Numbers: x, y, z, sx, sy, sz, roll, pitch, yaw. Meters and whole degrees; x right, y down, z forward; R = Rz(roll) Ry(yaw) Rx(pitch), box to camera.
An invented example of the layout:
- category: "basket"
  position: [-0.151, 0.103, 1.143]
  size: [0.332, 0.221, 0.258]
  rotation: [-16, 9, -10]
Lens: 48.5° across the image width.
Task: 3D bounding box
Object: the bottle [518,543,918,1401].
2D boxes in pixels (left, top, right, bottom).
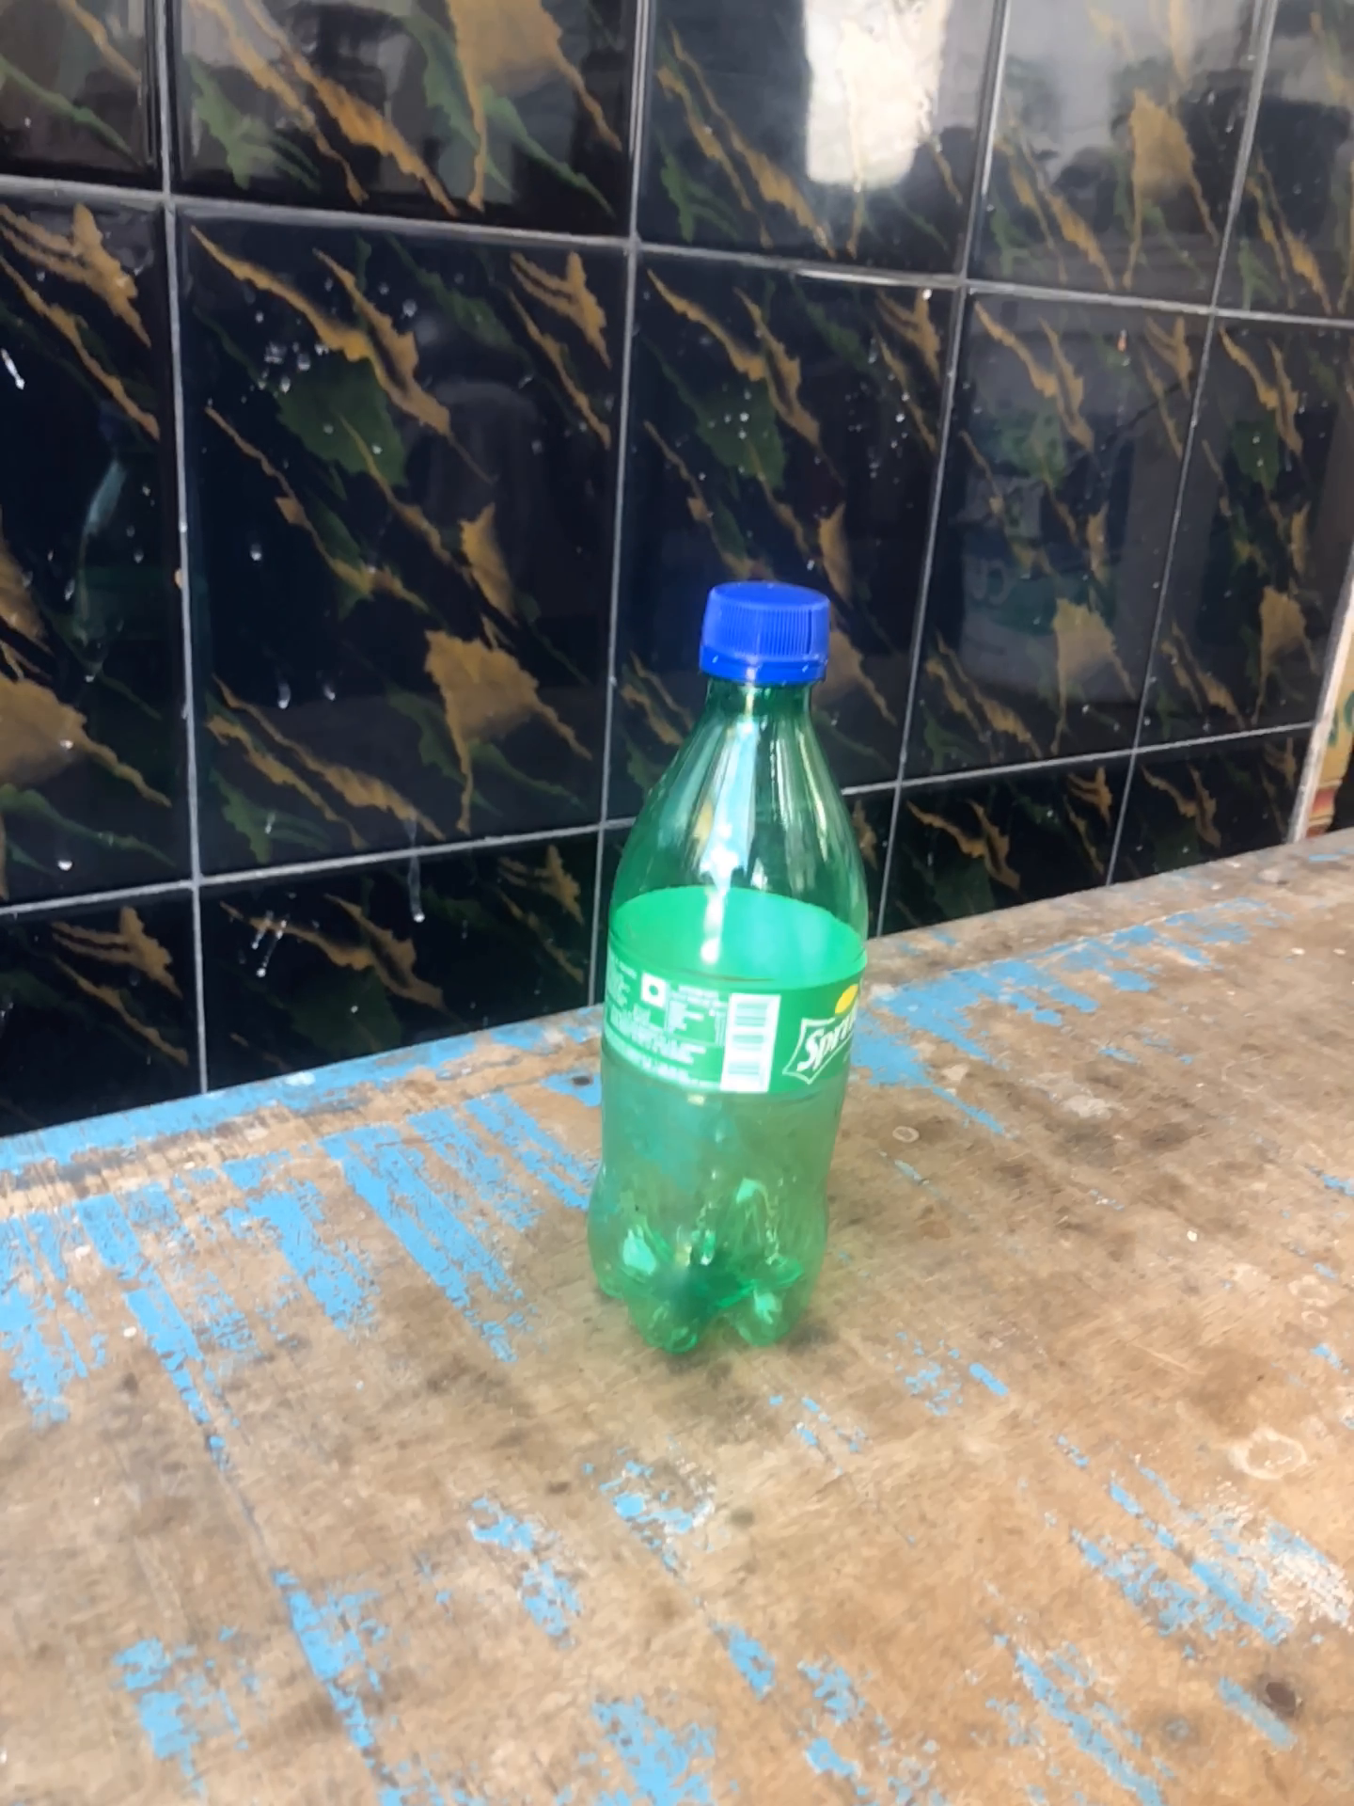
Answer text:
- category: "bottle"
  position: [0.007, 0.012, 0.312]
  size: [0.050, 0.159, 0.060]
  rotation: [14, 23, 23]
